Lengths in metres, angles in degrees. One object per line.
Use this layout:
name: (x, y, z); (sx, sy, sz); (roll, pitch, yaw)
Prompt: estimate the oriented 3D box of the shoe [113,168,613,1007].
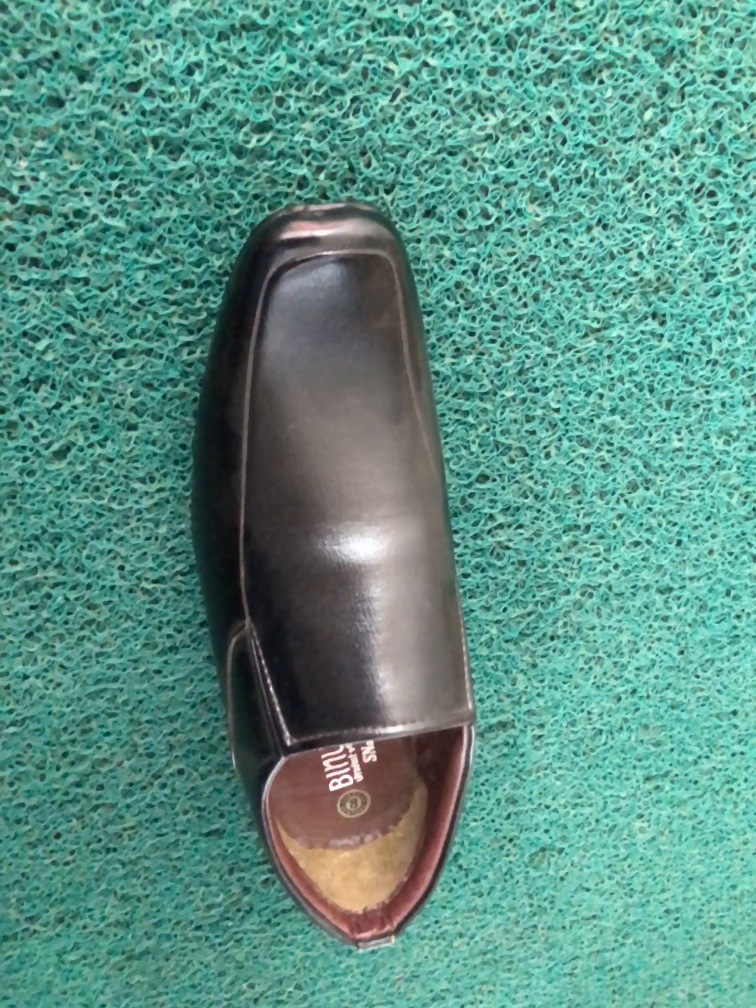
shoe: (-0.009, 0.035, 0.299); (0.110, 0.129, 0.271); (-8, 118, -11)
